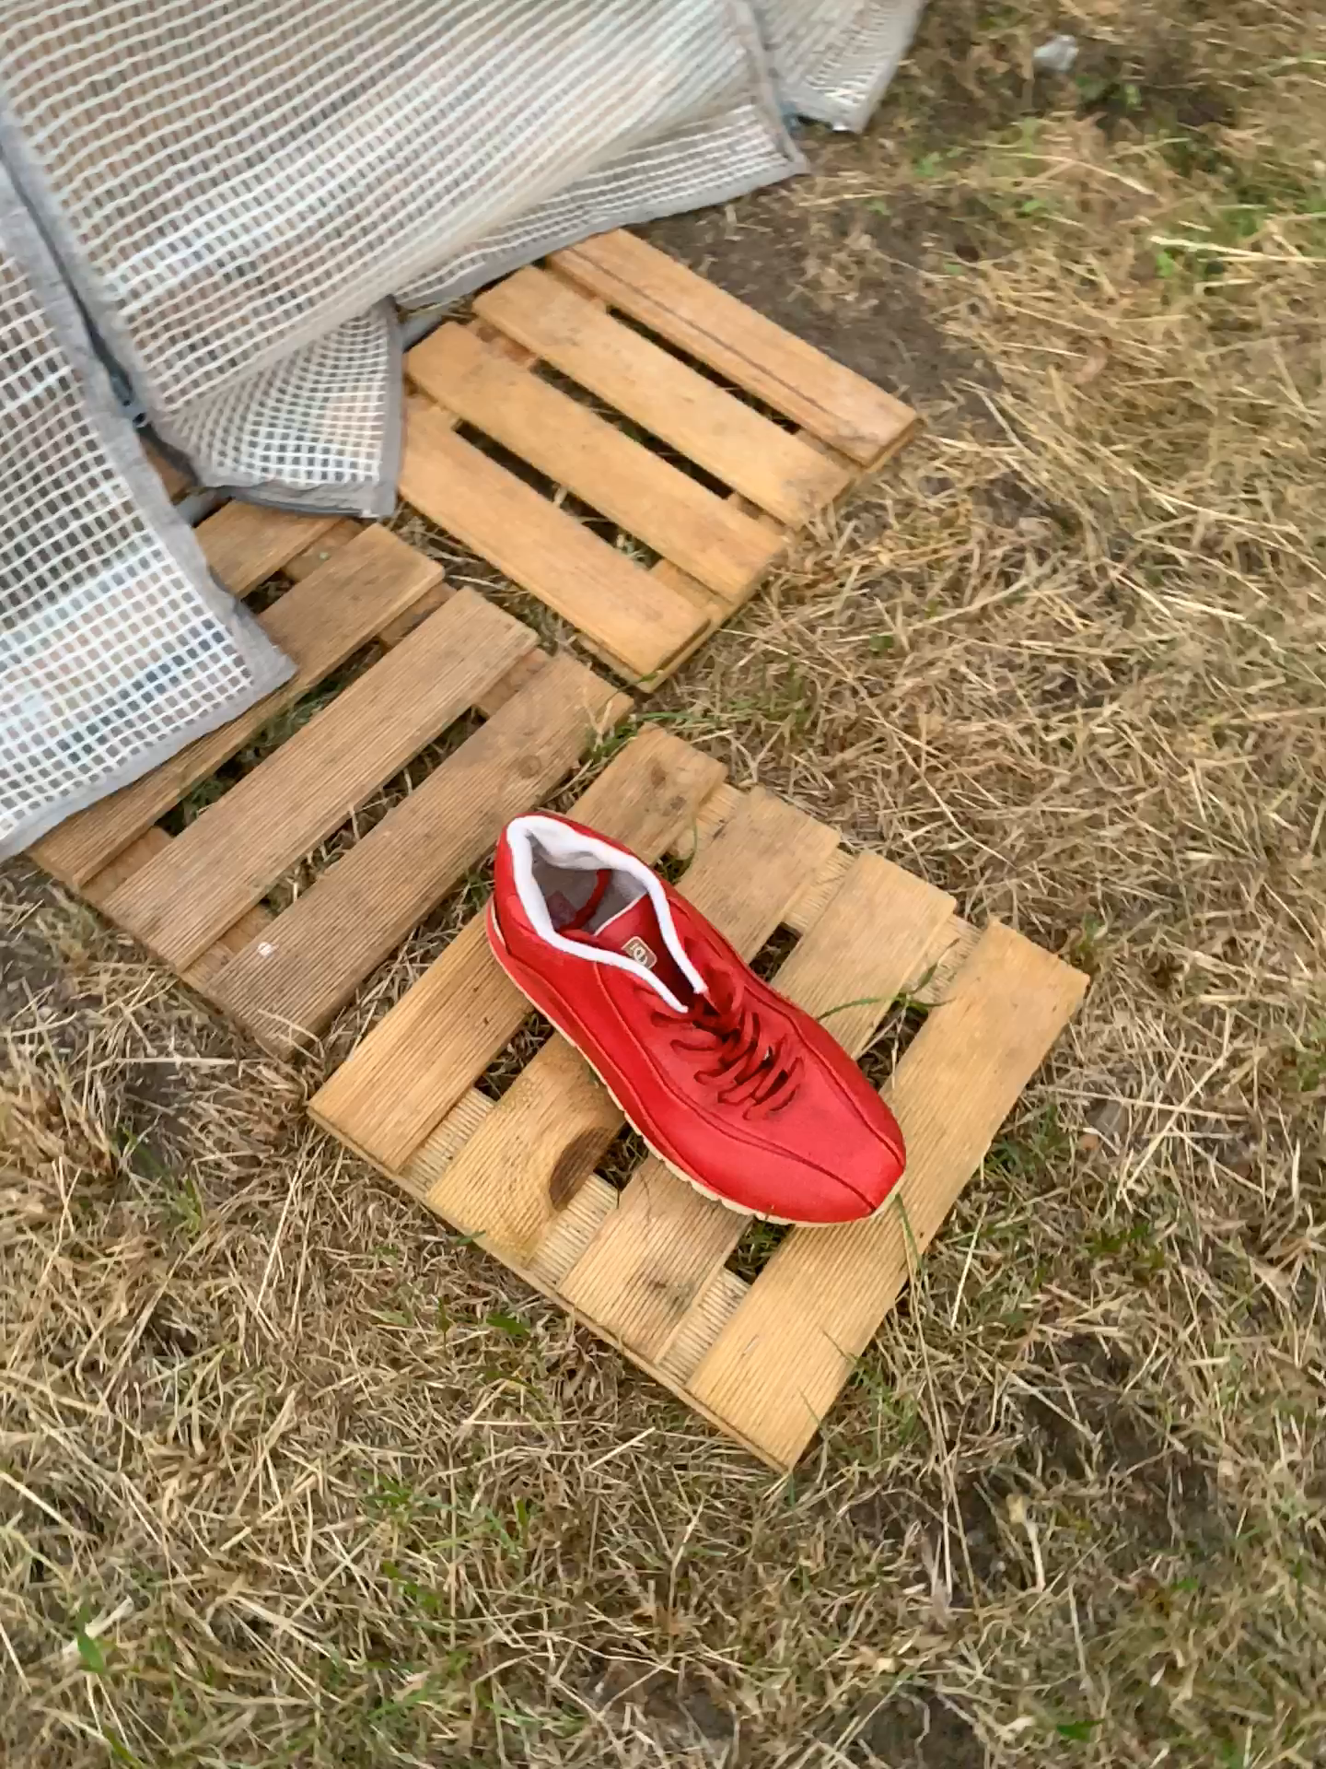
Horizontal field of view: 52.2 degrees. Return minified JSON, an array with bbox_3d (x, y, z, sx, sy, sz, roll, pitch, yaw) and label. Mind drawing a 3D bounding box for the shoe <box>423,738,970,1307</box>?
[{"bbox_3d":[0.009,0.066,0.667,0.100,0.099,0.261,-39,72,-19],"label":"shoe"}]
